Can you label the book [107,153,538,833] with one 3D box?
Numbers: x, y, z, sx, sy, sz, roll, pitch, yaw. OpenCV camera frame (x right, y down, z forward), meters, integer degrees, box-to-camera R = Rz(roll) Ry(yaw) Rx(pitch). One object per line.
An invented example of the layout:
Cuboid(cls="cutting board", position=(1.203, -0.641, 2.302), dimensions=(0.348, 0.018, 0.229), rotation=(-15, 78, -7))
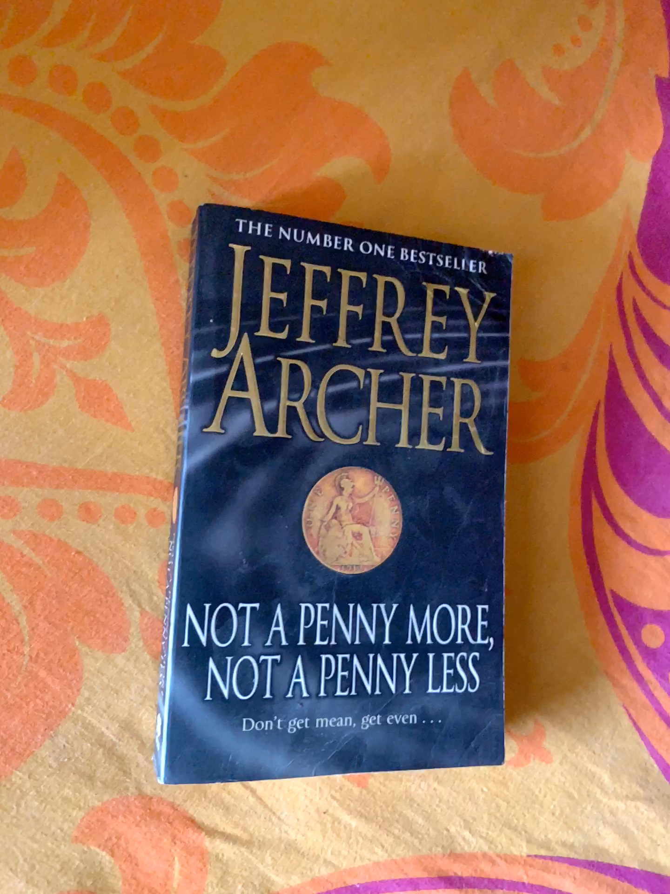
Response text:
Cuboid(cls="book", position=(0.000, 0.011, 0.195), dimensions=(0.110, 0.030, 0.160), rotation=(4, 82, -17))
